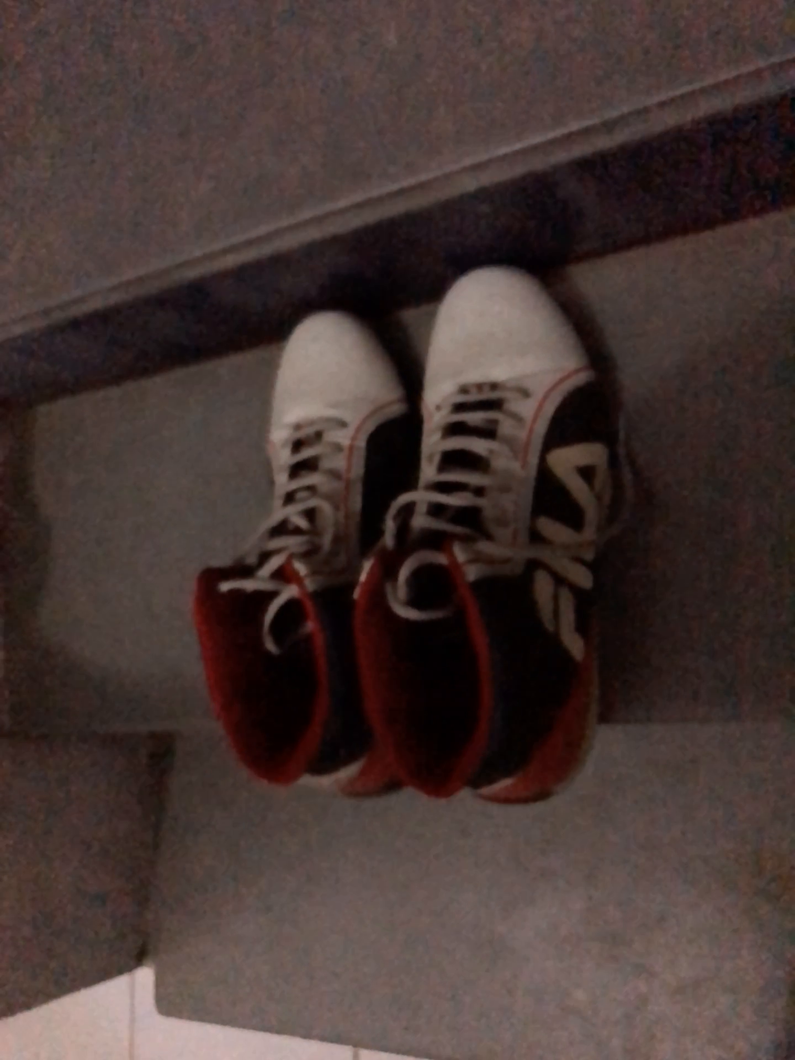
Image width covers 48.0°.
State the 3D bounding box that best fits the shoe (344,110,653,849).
[{"bbox_3d":[0.047,-0.019,0.433,0.110,0.100,0.310,-6,78,28],"label":"shoe"}]

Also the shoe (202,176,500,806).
[{"bbox_3d":[-0.027,-0.013,0.502,0.110,0.120,0.310,-9,77,27],"label":"shoe"}]
